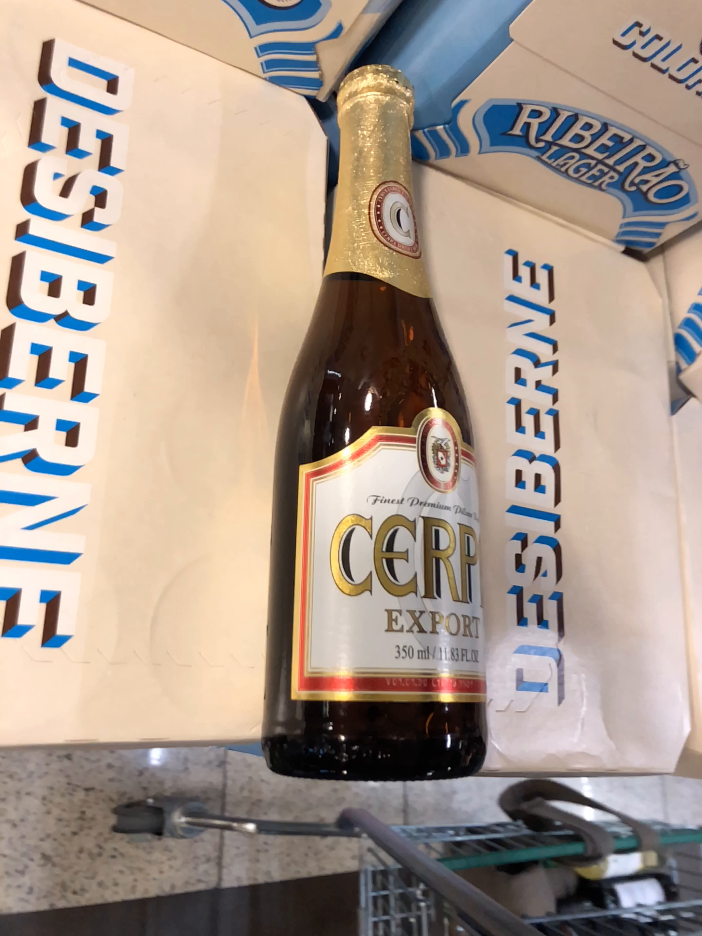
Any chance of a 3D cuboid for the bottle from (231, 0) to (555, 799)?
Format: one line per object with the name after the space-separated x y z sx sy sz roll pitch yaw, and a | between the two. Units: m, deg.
0.010 -0.031 0.248 0.070 0.060 0.240 8 74 -29 | bottle
